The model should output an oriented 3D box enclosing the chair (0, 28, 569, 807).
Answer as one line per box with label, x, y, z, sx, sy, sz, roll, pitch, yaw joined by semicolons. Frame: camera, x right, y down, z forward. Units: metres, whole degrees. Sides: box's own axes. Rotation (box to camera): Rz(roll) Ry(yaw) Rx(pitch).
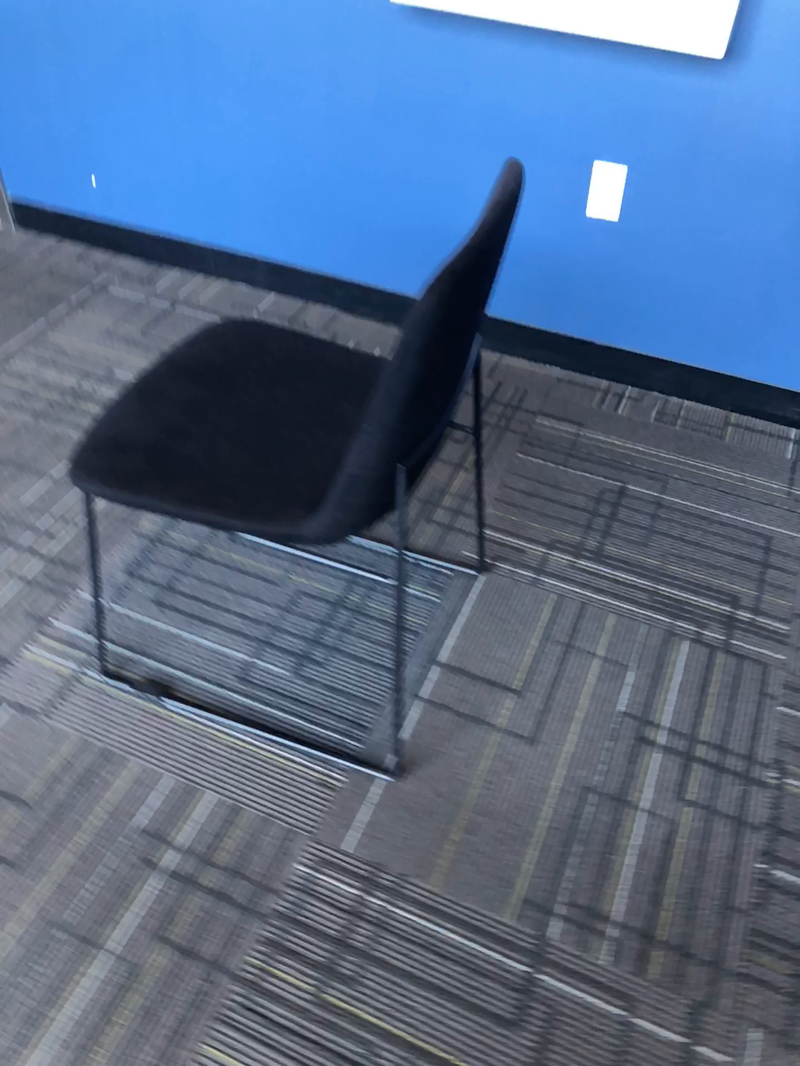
chair;-0.160;-0.148;1.199;0.550;0.766;0.562;15;46;13
